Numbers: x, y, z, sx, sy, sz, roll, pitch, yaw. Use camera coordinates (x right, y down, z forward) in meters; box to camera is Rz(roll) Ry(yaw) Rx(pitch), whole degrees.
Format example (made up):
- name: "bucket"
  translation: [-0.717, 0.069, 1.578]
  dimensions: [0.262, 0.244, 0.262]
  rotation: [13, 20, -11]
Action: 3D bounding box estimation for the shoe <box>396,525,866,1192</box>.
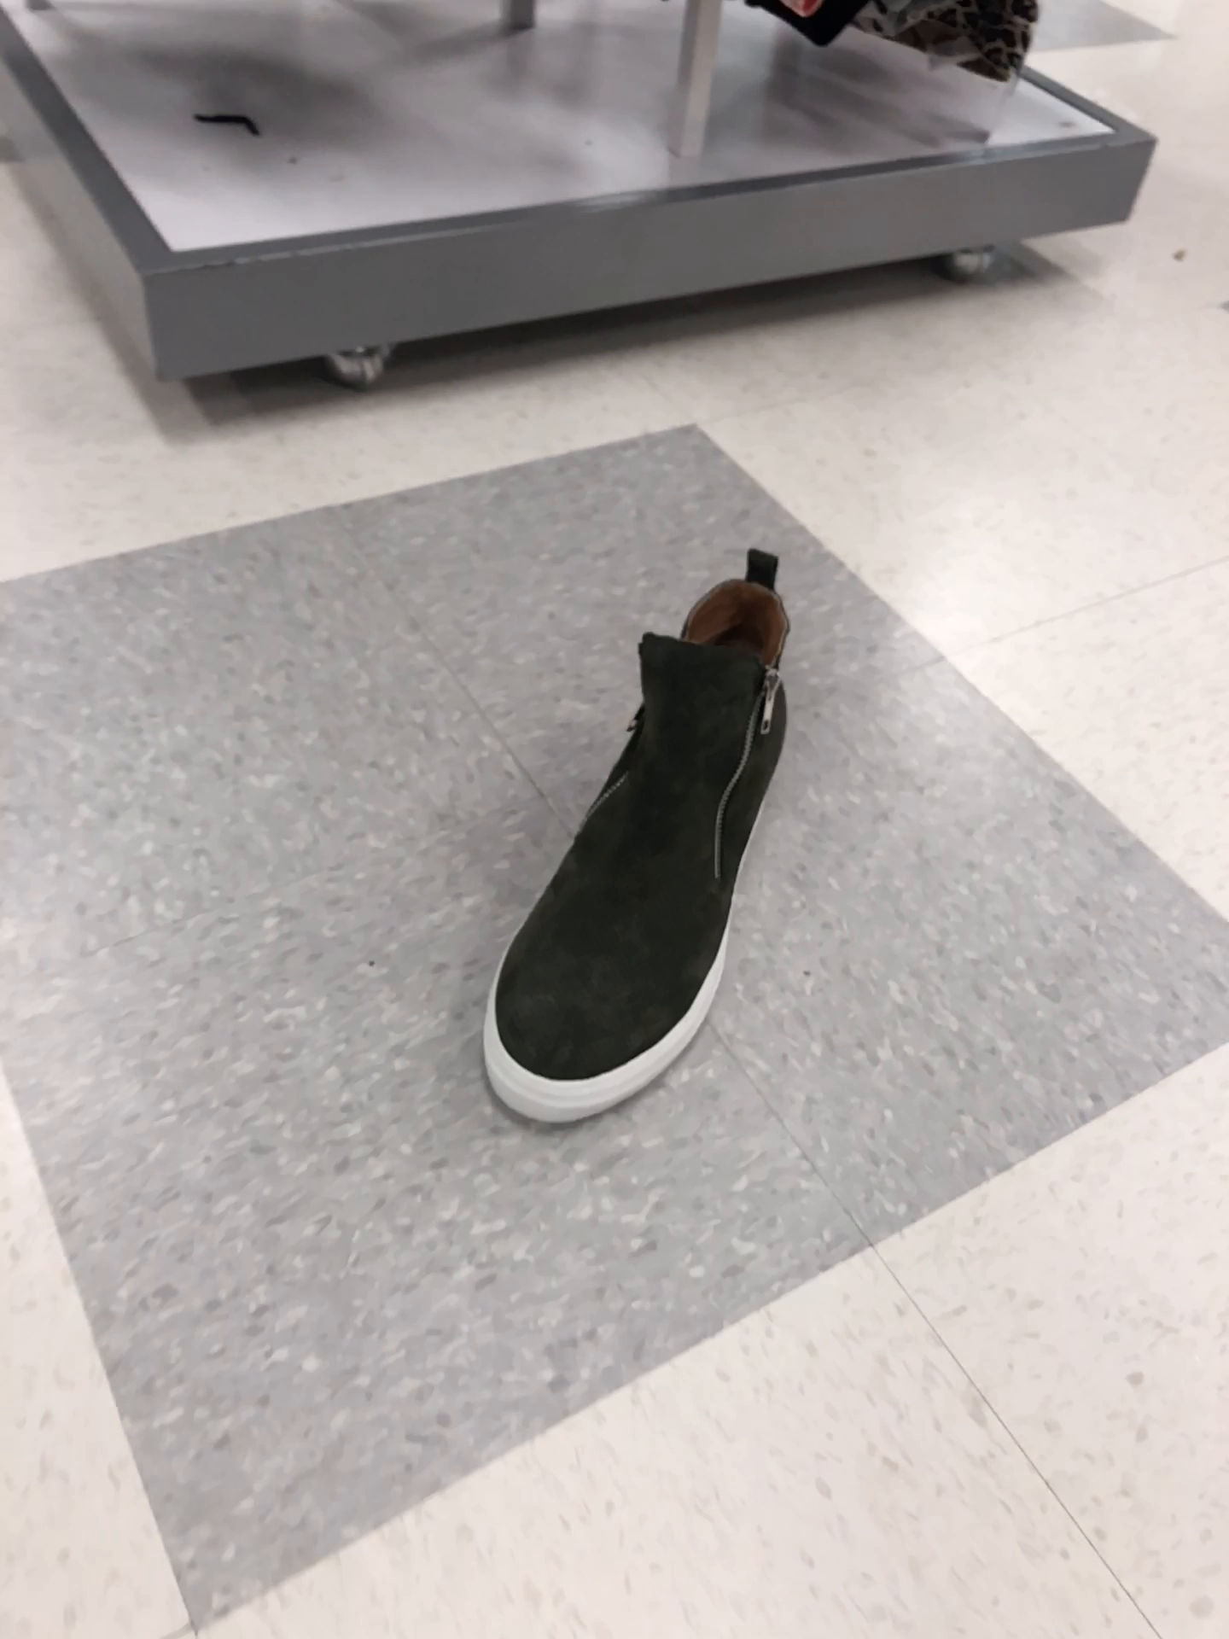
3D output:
- name: "shoe"
  translation: [0.015, 0.005, 0.665]
  dimensions: [0.108, 0.141, 0.293]
  rotation: [21, 48, 12]
